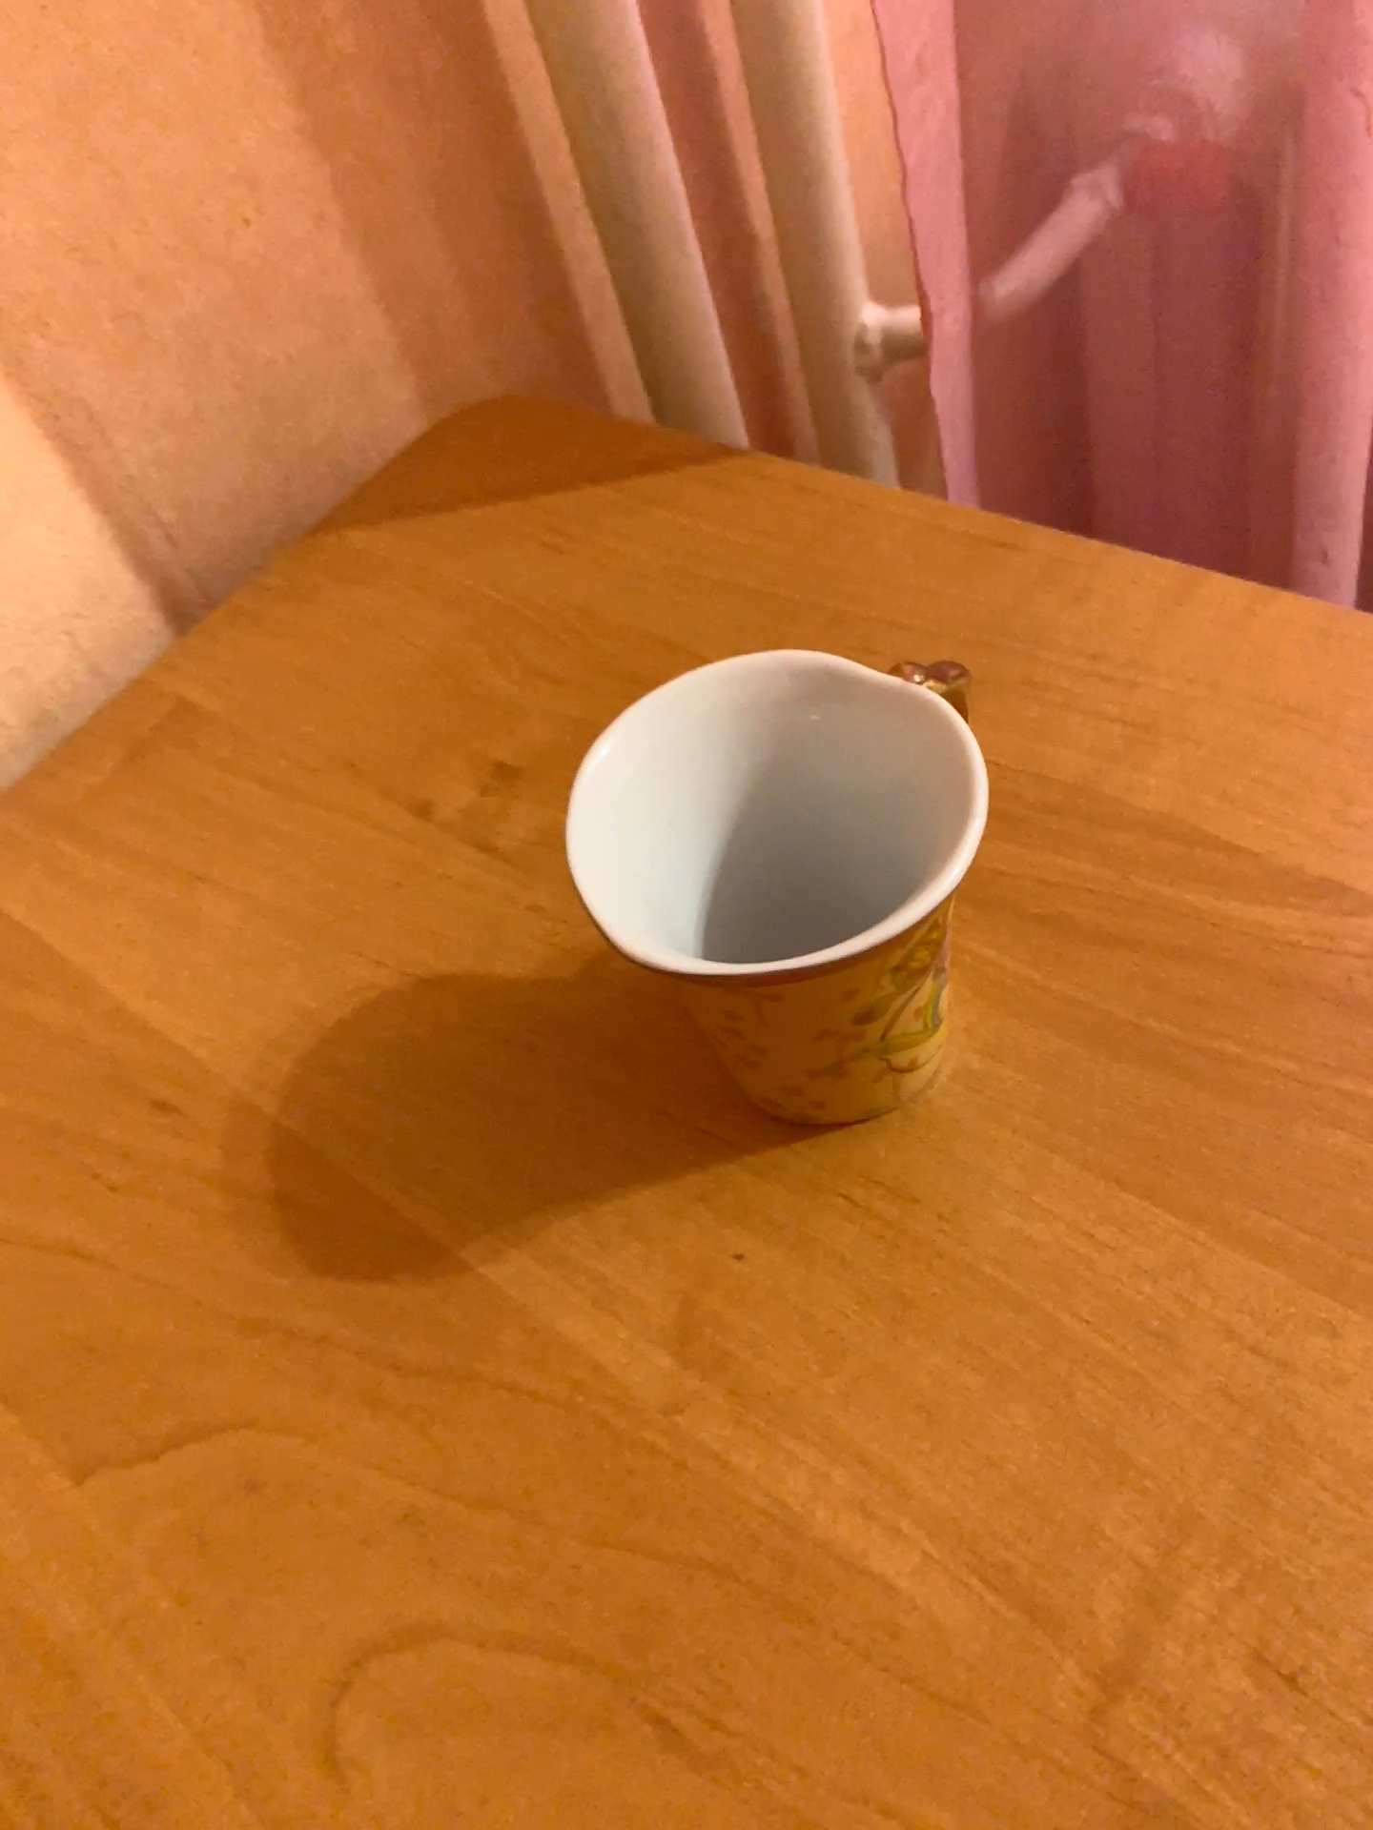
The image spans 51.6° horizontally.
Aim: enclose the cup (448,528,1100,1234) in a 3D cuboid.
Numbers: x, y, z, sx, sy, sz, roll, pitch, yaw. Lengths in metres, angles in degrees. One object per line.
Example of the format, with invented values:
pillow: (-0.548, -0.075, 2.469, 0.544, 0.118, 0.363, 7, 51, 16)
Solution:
cup: (0.022, -0.010, 0.248, 0.072, 0.061, 0.094, 13, 58, 27)
